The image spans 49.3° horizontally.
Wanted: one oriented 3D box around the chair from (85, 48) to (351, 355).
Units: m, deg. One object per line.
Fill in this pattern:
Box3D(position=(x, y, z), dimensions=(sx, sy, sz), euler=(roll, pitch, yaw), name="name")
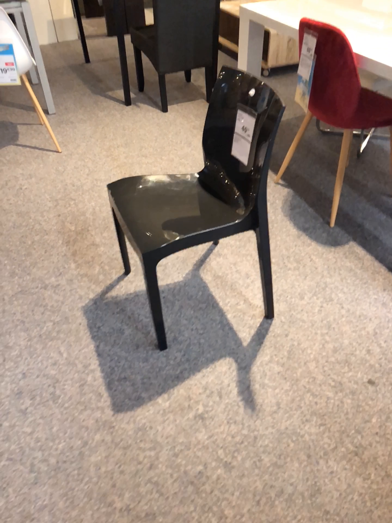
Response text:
Box3D(position=(0.031, -0.210, 1.447), dimensions=(0.572, 0.766, 0.522), euler=(-17, 44, -19), name="chair")
